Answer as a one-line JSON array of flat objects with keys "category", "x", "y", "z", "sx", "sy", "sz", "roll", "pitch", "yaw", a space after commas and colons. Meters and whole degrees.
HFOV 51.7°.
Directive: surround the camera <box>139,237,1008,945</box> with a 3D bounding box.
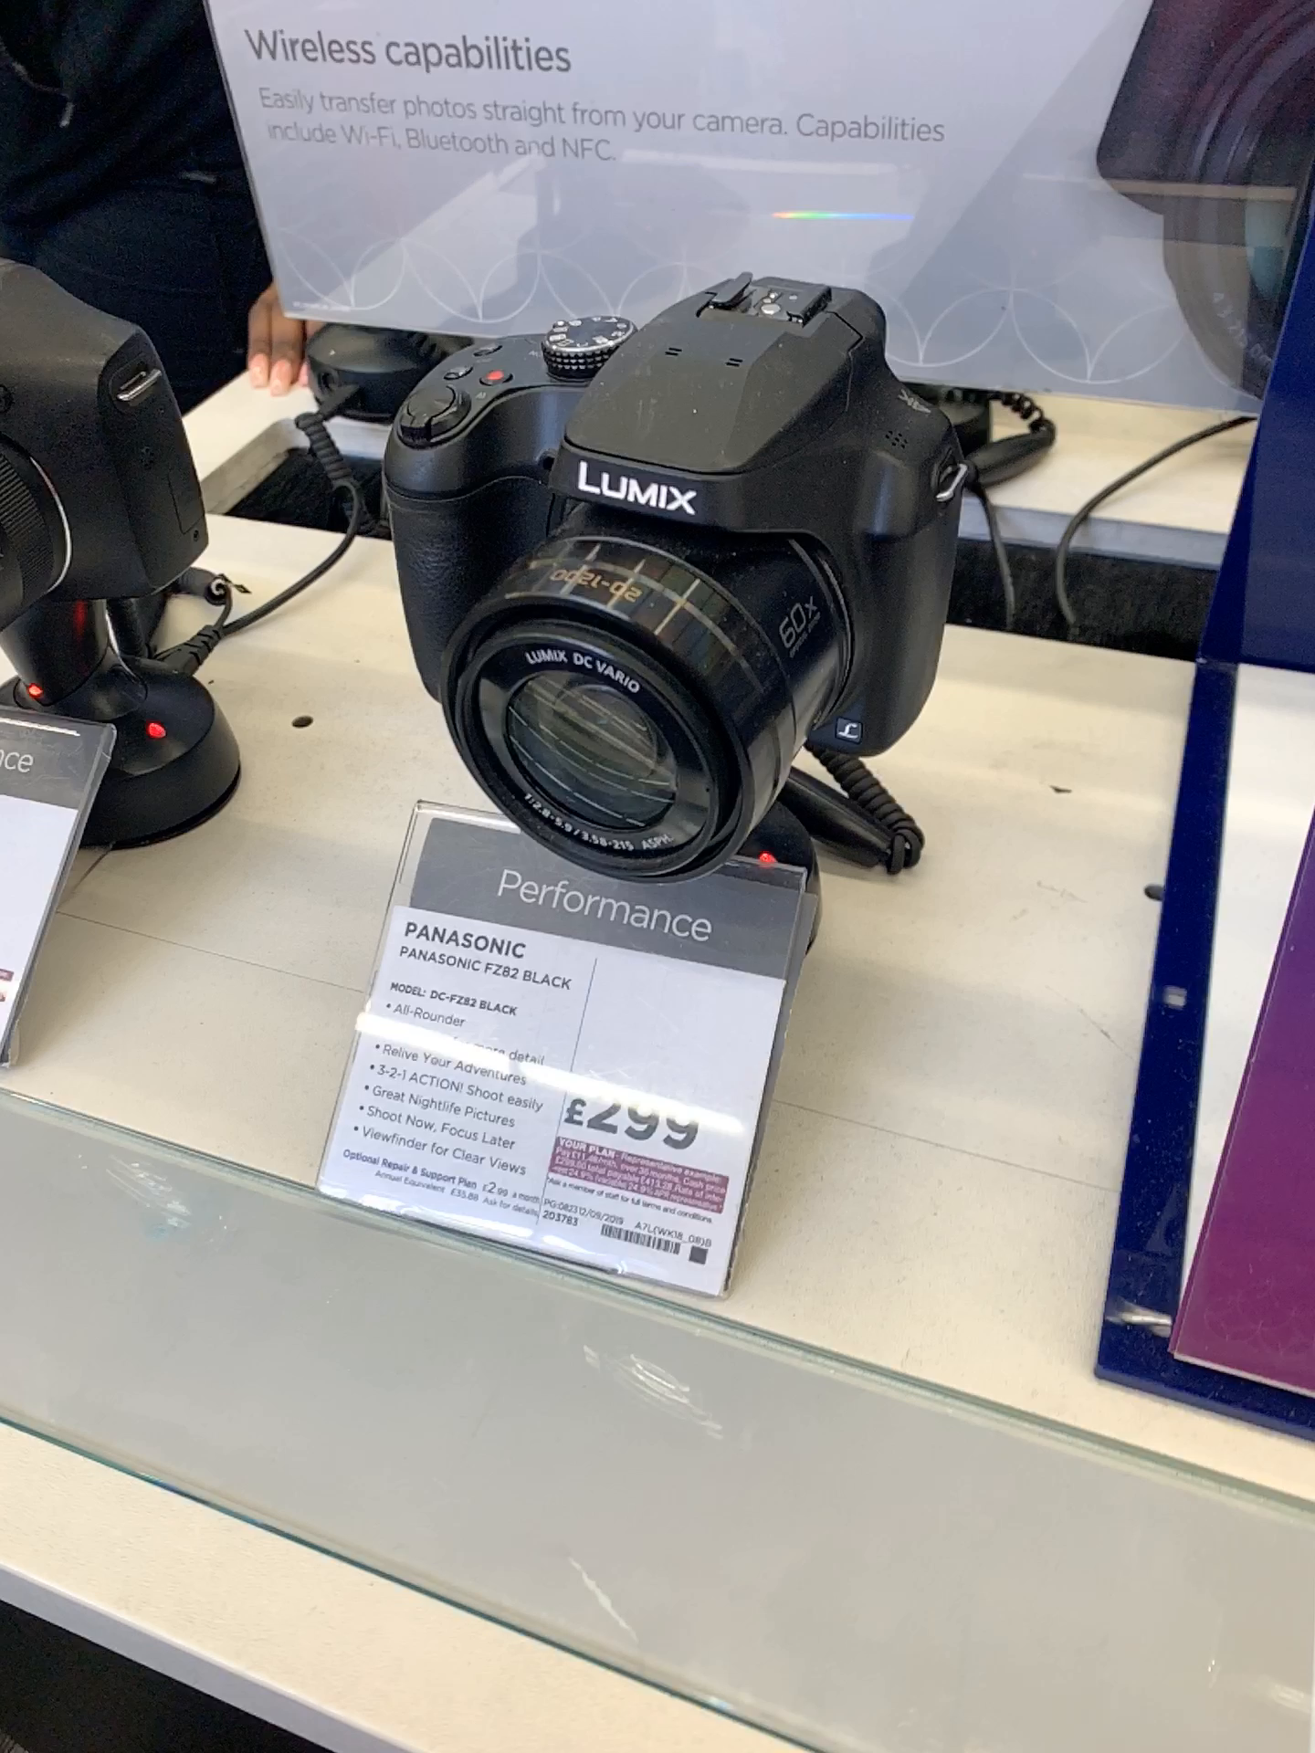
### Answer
[{"category": "camera", "x": -0.009, "y": -0.071, "z": 0.292, "sx": 0.130, "sy": 0.079, "sz": 0.121, "roll": 15, "pitch": 46, "yaw": 19}]
